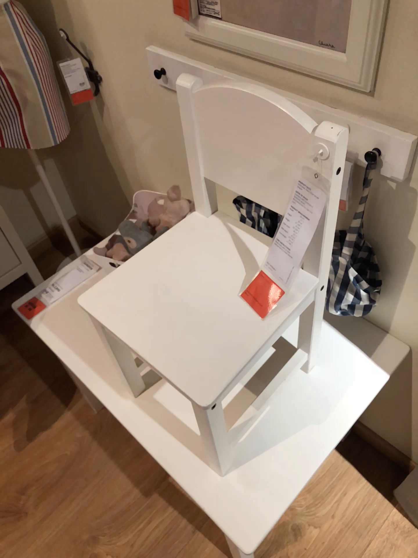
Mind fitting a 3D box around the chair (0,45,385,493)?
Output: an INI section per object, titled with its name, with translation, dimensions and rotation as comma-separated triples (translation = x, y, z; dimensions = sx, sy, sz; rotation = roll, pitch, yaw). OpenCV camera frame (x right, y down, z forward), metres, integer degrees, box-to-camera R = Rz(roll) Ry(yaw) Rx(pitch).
[chair]
translation = 0.006, 0.014, 0.720
dimensions = 0.301, 0.557, 0.321
rotation = 32, 60, 30
